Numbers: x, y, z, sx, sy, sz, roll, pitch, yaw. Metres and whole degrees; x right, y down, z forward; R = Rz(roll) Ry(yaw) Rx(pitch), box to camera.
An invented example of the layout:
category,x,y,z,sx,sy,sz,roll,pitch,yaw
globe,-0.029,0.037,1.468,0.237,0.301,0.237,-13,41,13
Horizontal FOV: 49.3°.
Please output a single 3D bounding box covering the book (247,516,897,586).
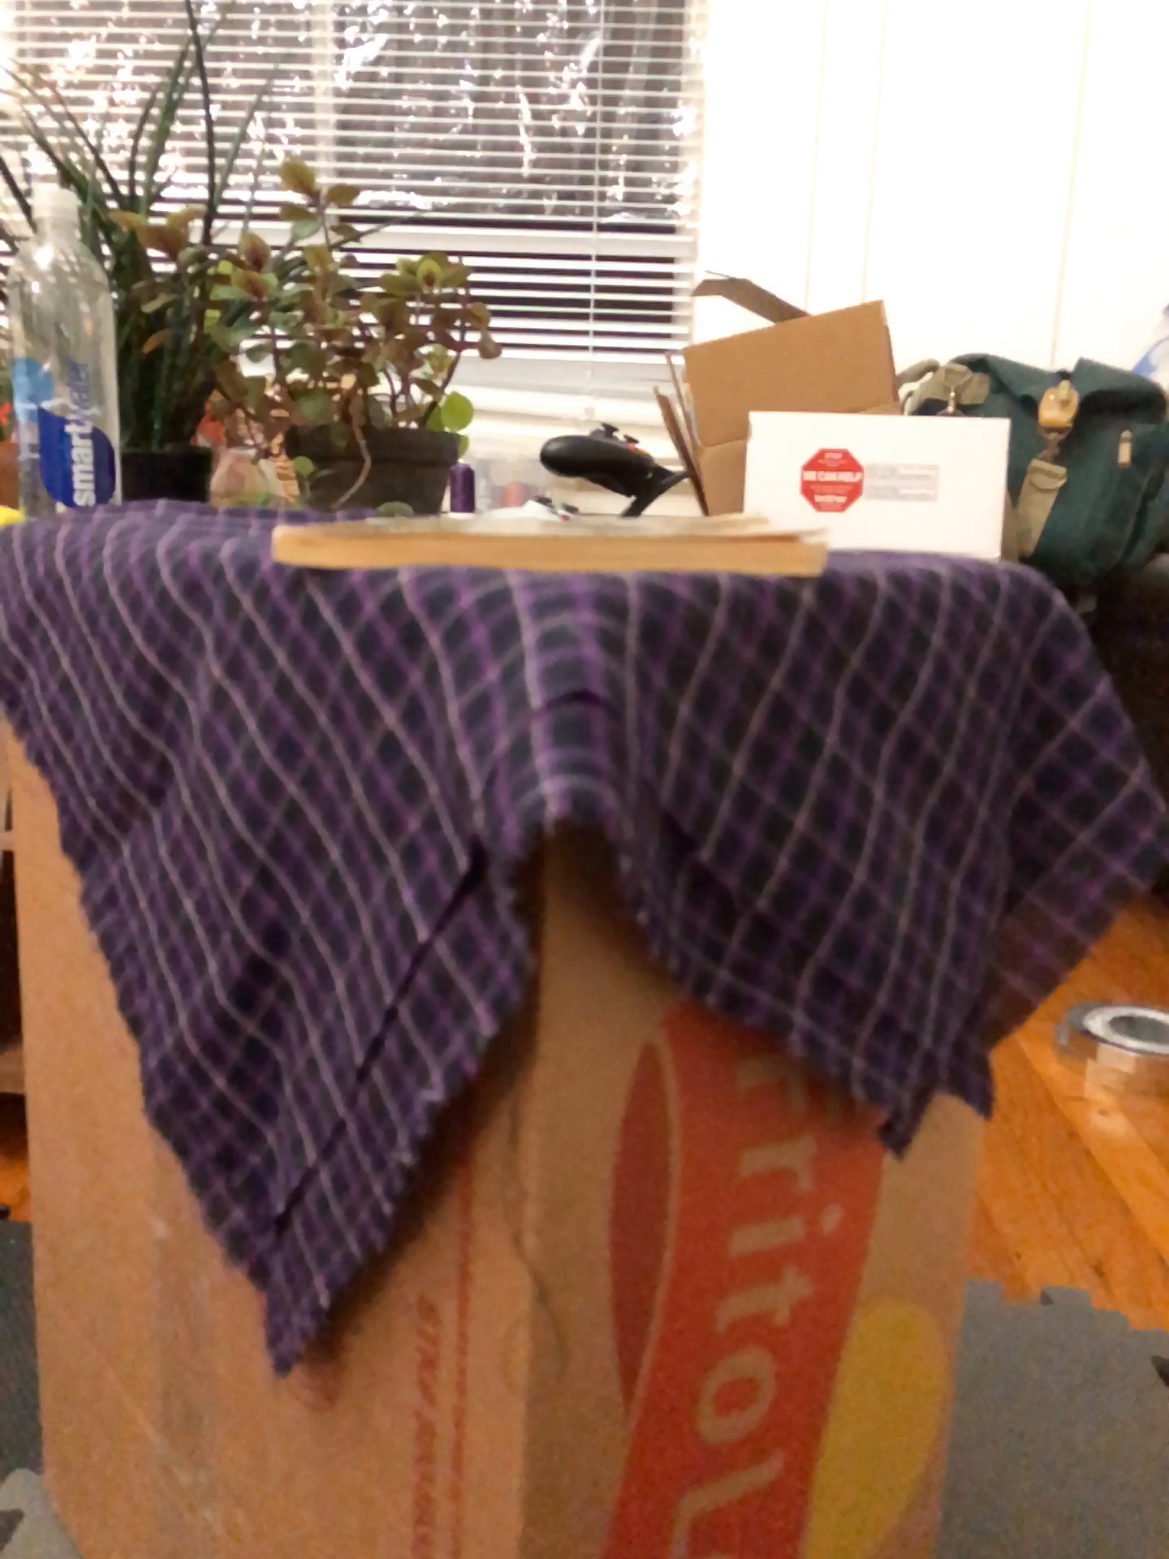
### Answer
category,x,y,z,sx,sy,sz,roll,pitch,yaw
book,0.002,-0.072,0.382,0.140,0.010,0.221,2,12,3
